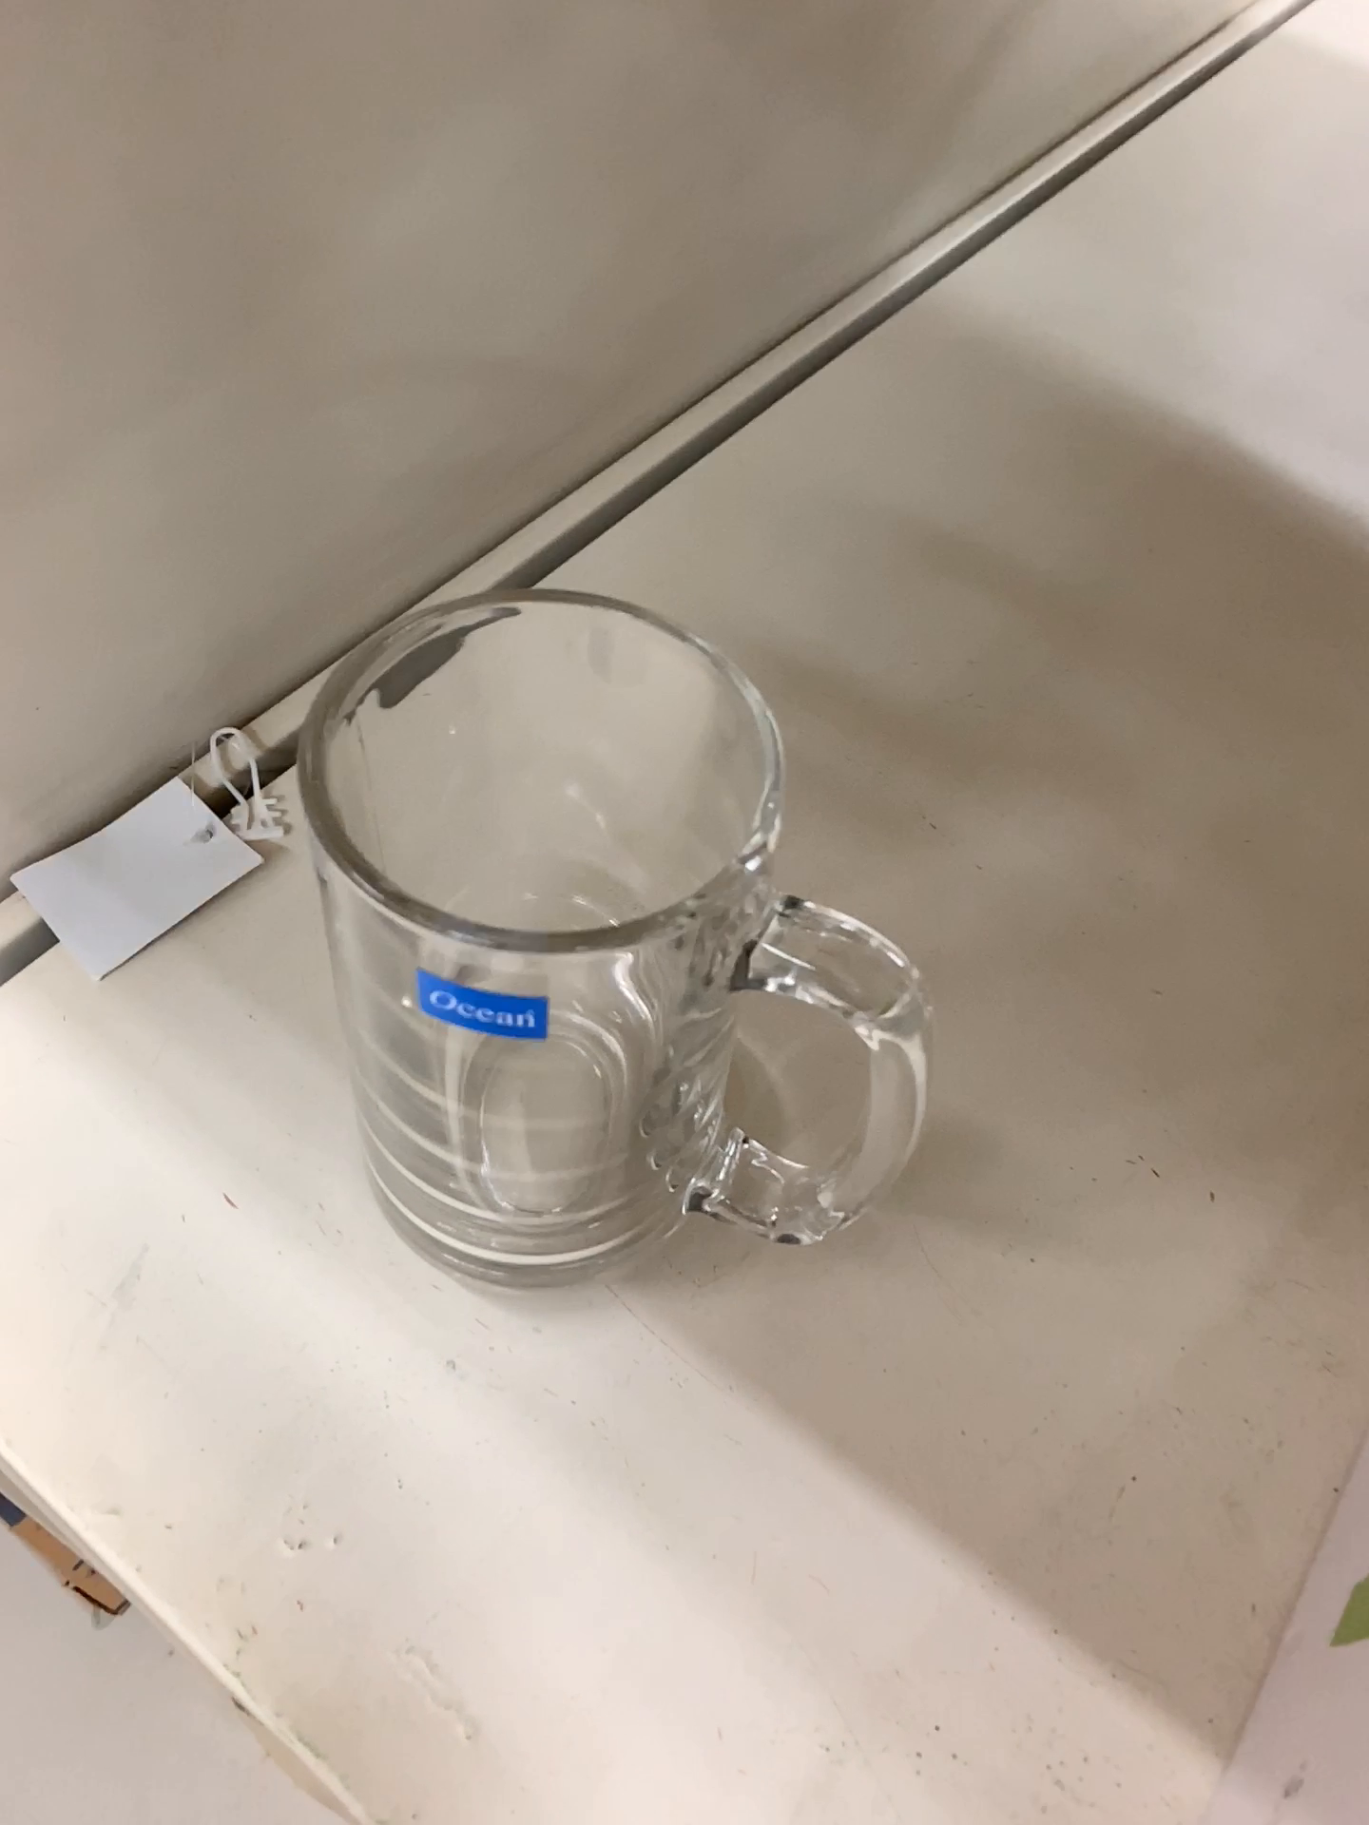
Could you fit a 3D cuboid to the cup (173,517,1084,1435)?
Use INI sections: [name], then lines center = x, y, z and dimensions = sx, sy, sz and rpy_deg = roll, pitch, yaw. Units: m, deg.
[cup]
center = -0.009, 0.018, 0.254
dimensions = 0.111, 0.127, 0.076
rpy_deg = 20, 54, 9
